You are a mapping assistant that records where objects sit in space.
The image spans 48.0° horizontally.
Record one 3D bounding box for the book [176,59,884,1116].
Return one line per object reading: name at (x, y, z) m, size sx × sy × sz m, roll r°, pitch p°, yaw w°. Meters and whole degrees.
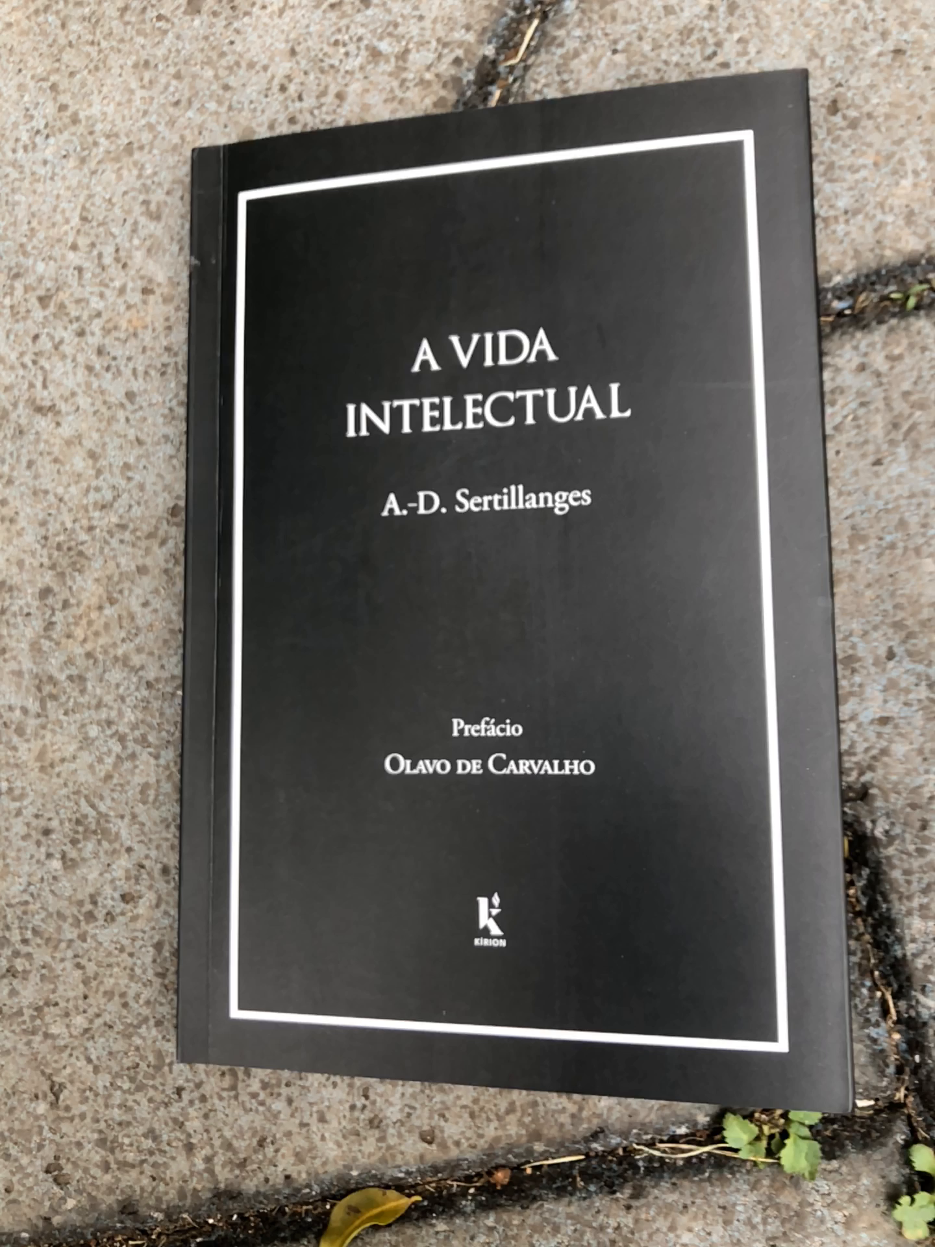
book at (0.008, -0.008, 0.218) m, size 0.136 × 0.020 × 0.196 m, roll -2°, pitch 85°, yaw 13°
